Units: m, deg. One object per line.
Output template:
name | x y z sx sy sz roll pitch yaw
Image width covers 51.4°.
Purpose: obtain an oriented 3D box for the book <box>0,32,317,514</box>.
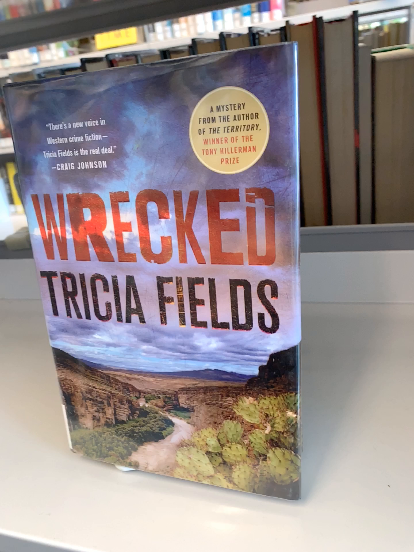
book | -0.023 0.008 0.224 0.150 0.213 0.034 1 18 21
